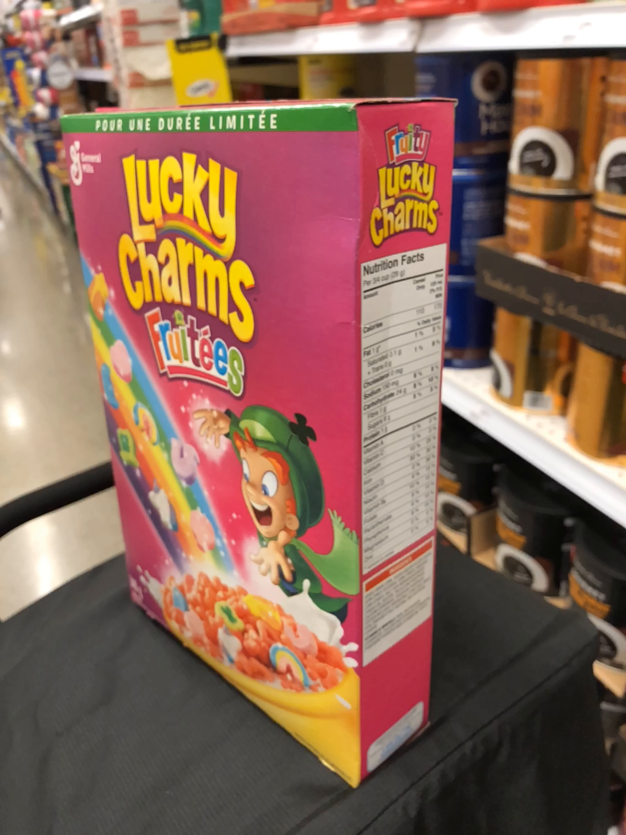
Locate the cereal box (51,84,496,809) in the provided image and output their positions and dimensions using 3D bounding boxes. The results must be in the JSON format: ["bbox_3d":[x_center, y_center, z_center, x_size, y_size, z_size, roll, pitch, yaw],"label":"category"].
[{"bbox_3d":[-0.028,0.005,0.345,0.060,0.299,0.201,-23,32,-40],"label":"cereal box"}]
